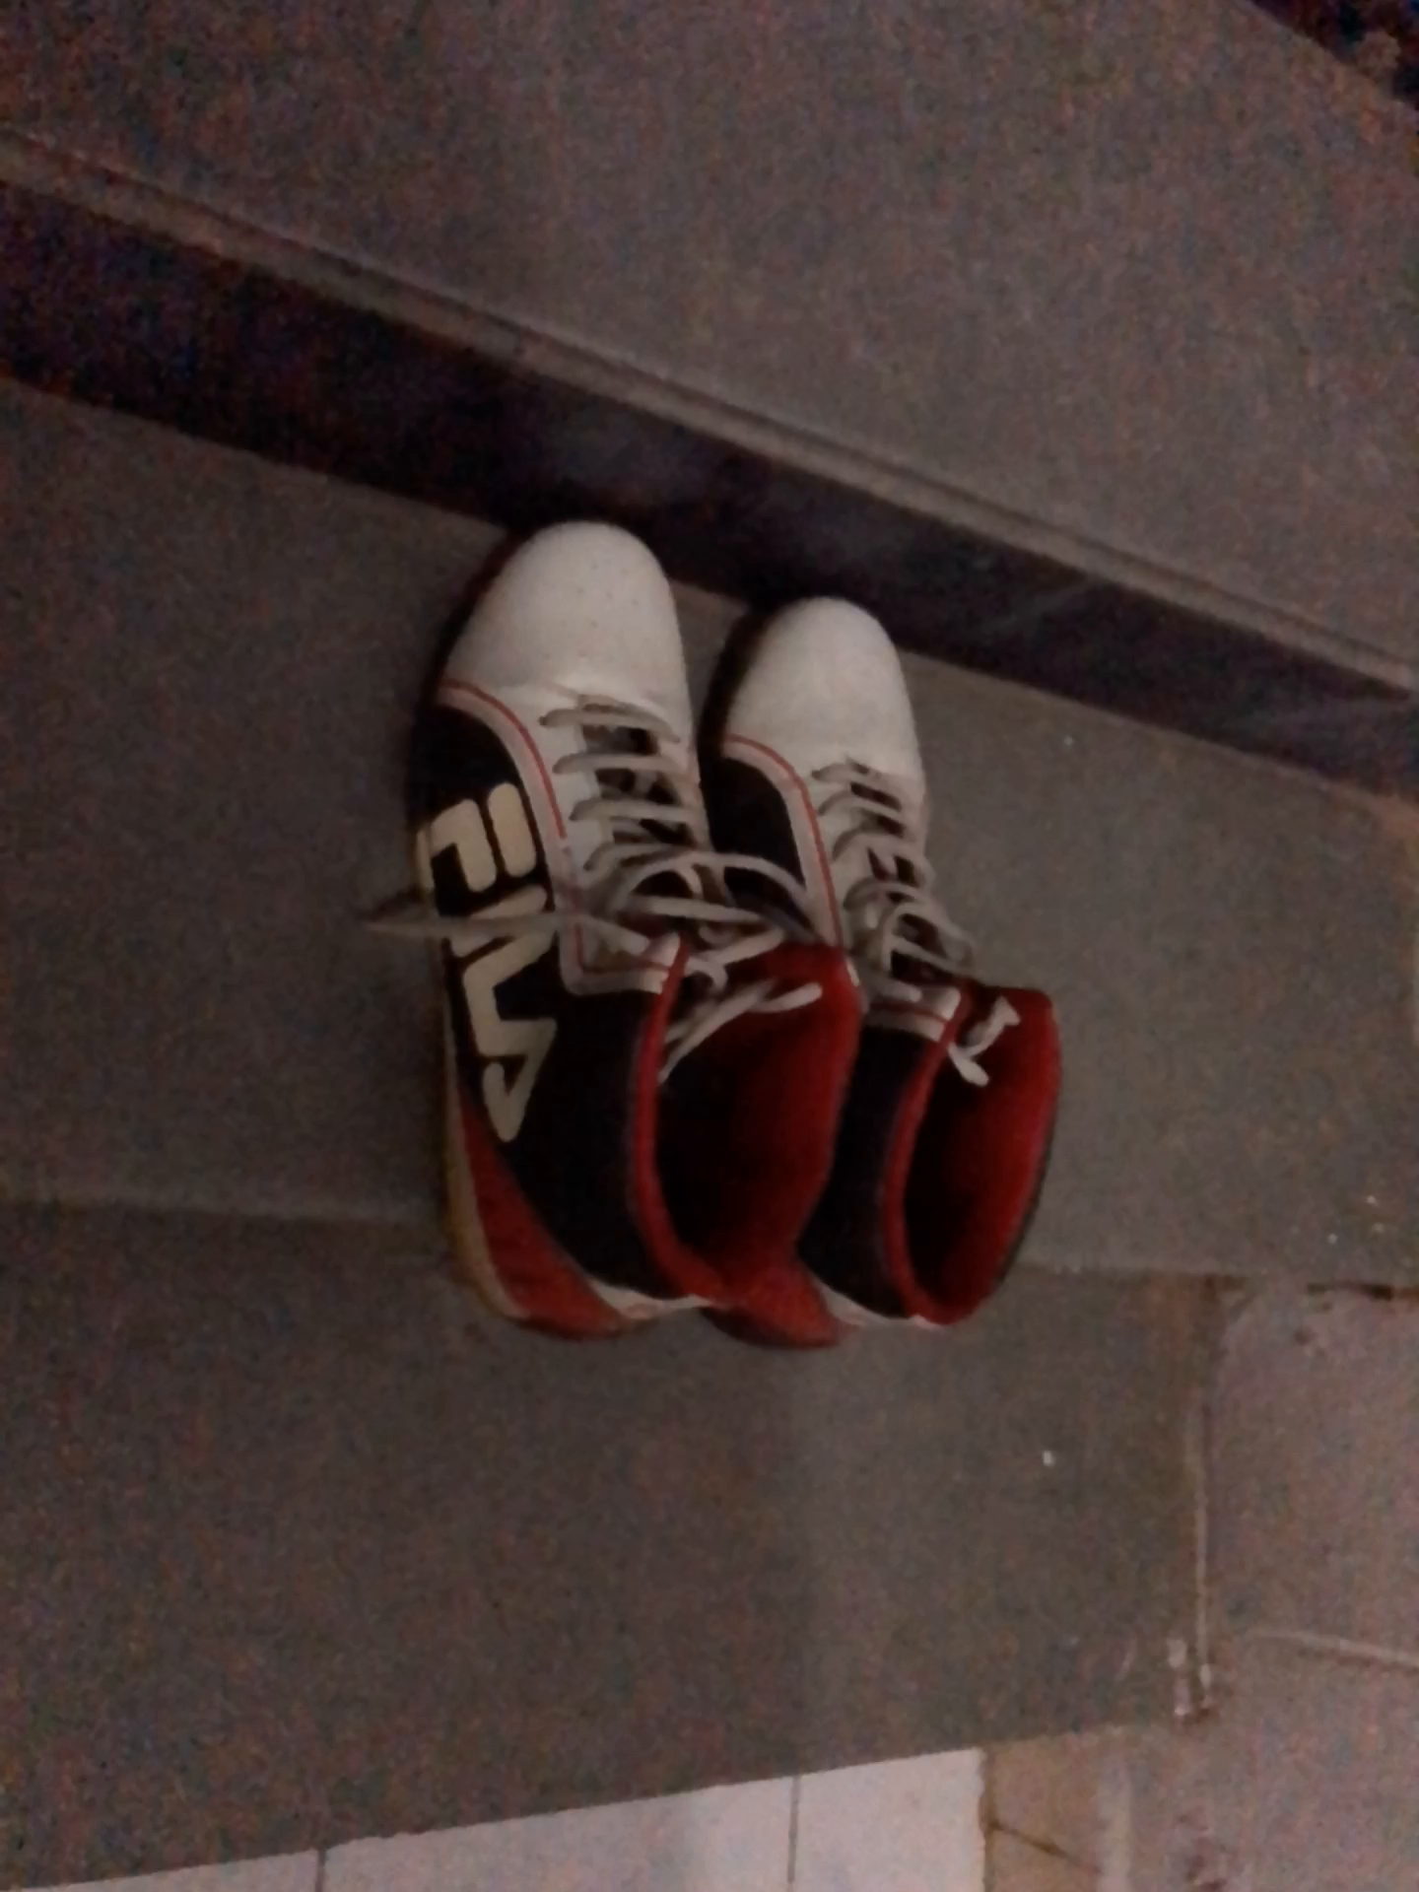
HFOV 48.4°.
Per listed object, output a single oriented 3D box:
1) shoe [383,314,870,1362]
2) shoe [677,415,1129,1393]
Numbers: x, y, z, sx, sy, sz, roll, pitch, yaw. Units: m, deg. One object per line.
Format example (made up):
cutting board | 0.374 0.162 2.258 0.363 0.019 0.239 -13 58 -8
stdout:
shoe | -0.028 -0.025 0.529 0.110 0.120 0.310 8 76 -30
shoe | 0.069 -0.007 0.555 0.110 0.100 0.310 10 75 -30
